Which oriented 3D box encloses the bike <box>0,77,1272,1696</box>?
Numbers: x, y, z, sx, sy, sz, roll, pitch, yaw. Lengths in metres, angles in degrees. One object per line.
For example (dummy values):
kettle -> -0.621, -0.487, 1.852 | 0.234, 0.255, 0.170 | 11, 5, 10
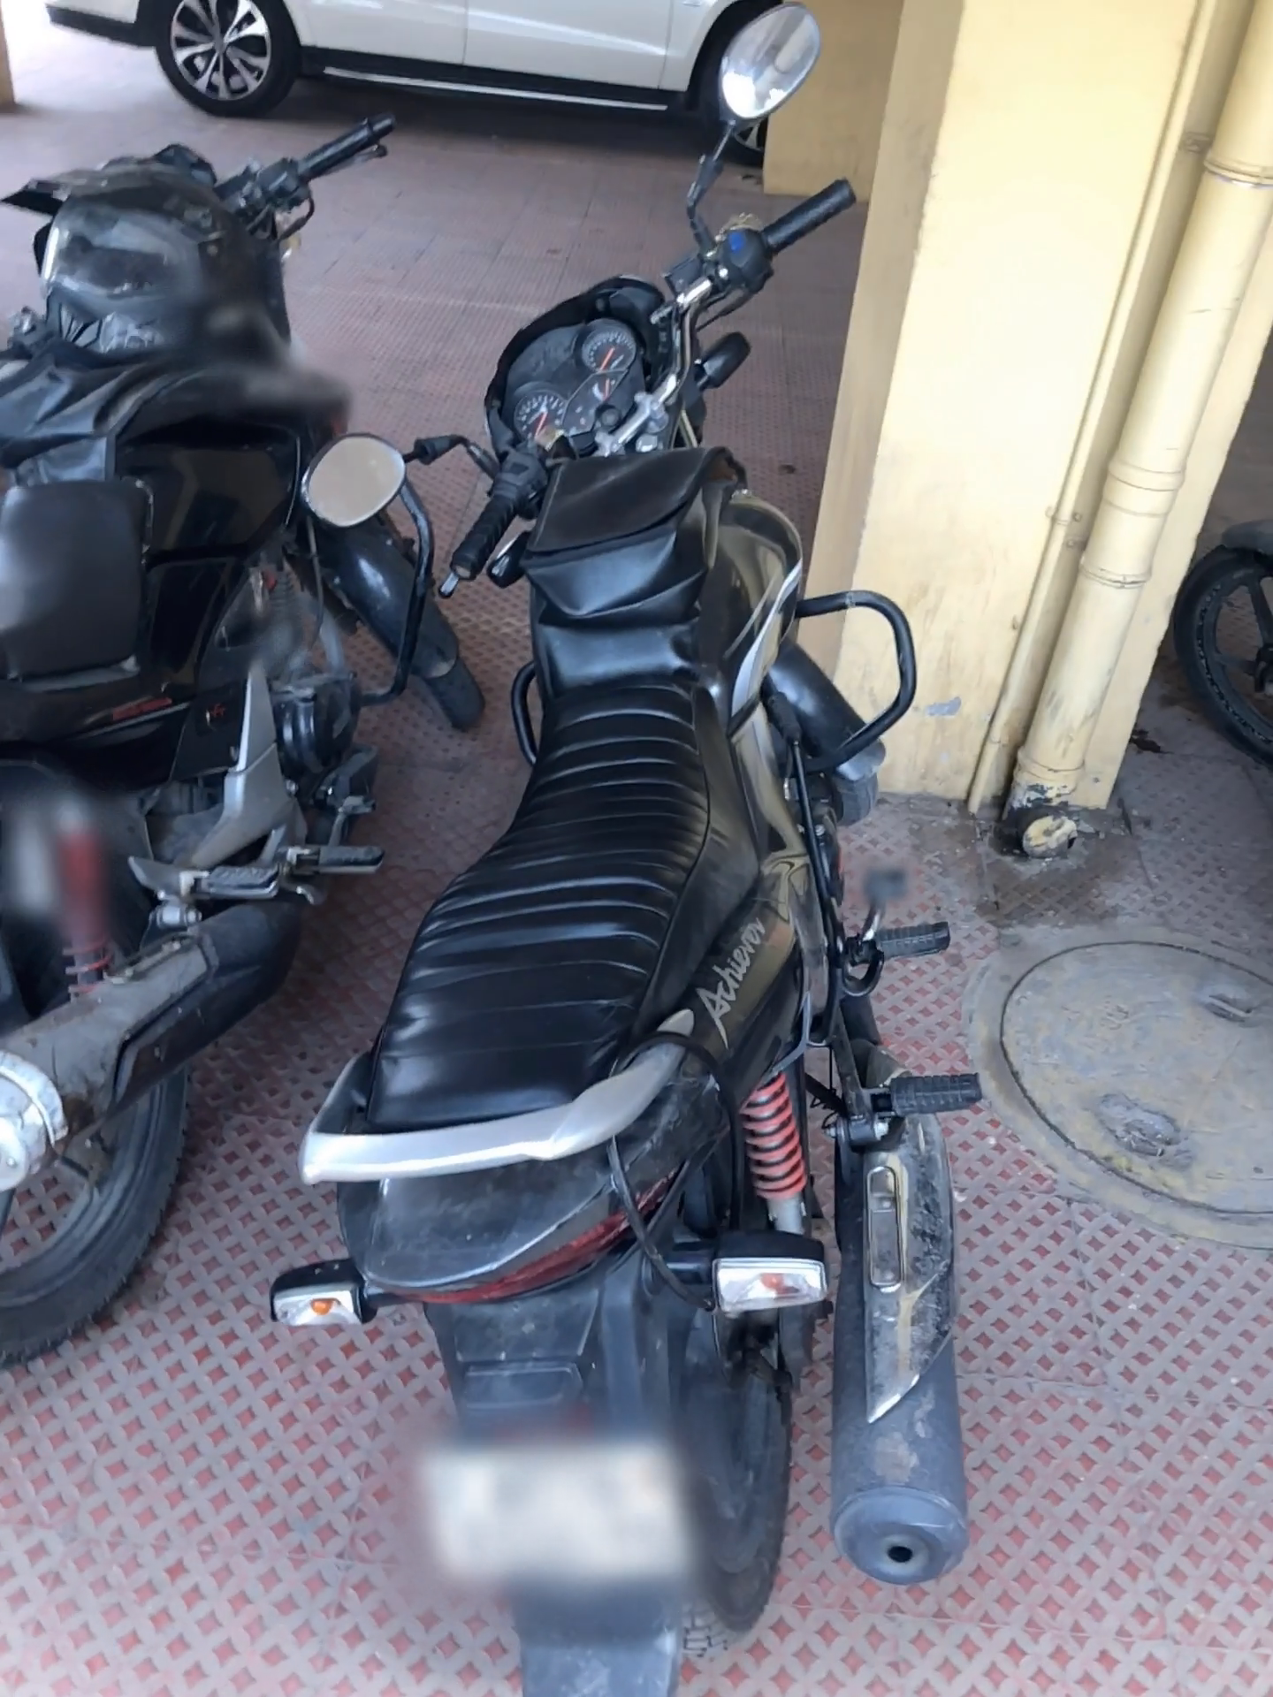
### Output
bike -> -0.115, -0.147, 1.722 | 0.731, 1.125, 1.769 | 4, 36, -3
